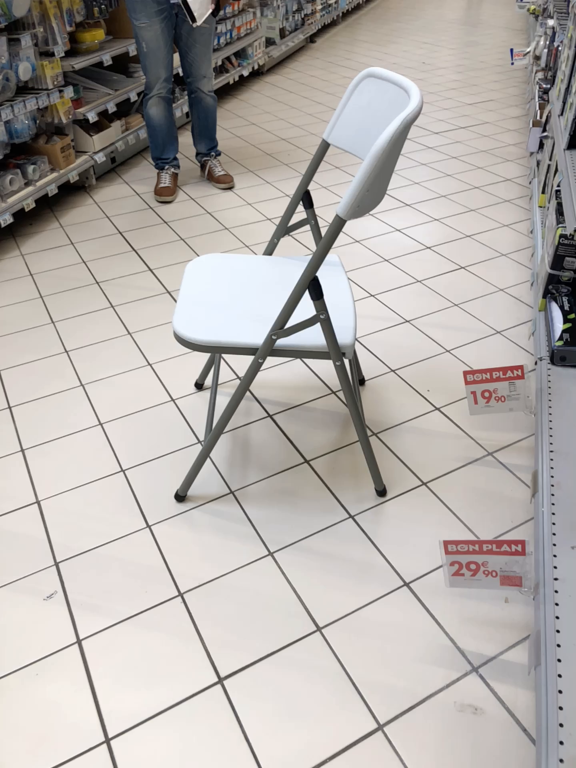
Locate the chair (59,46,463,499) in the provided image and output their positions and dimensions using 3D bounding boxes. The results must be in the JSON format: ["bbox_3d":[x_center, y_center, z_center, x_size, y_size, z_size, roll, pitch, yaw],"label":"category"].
[{"bbox_3d":[-0.026,-0.230,1.309,0.560,0.746,0.543,-2,36,1],"label":"chair"}]
